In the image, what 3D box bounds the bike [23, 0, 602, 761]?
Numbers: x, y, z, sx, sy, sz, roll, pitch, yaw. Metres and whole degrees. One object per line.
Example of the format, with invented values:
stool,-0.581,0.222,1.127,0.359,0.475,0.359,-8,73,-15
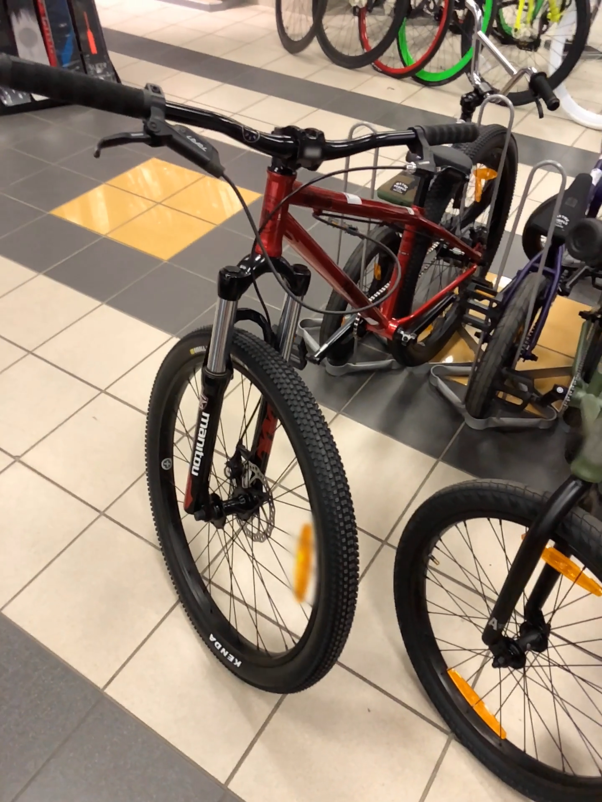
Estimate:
bike,0.265,-0.305,1.363,0.712,0.998,1.342,19,45,18
